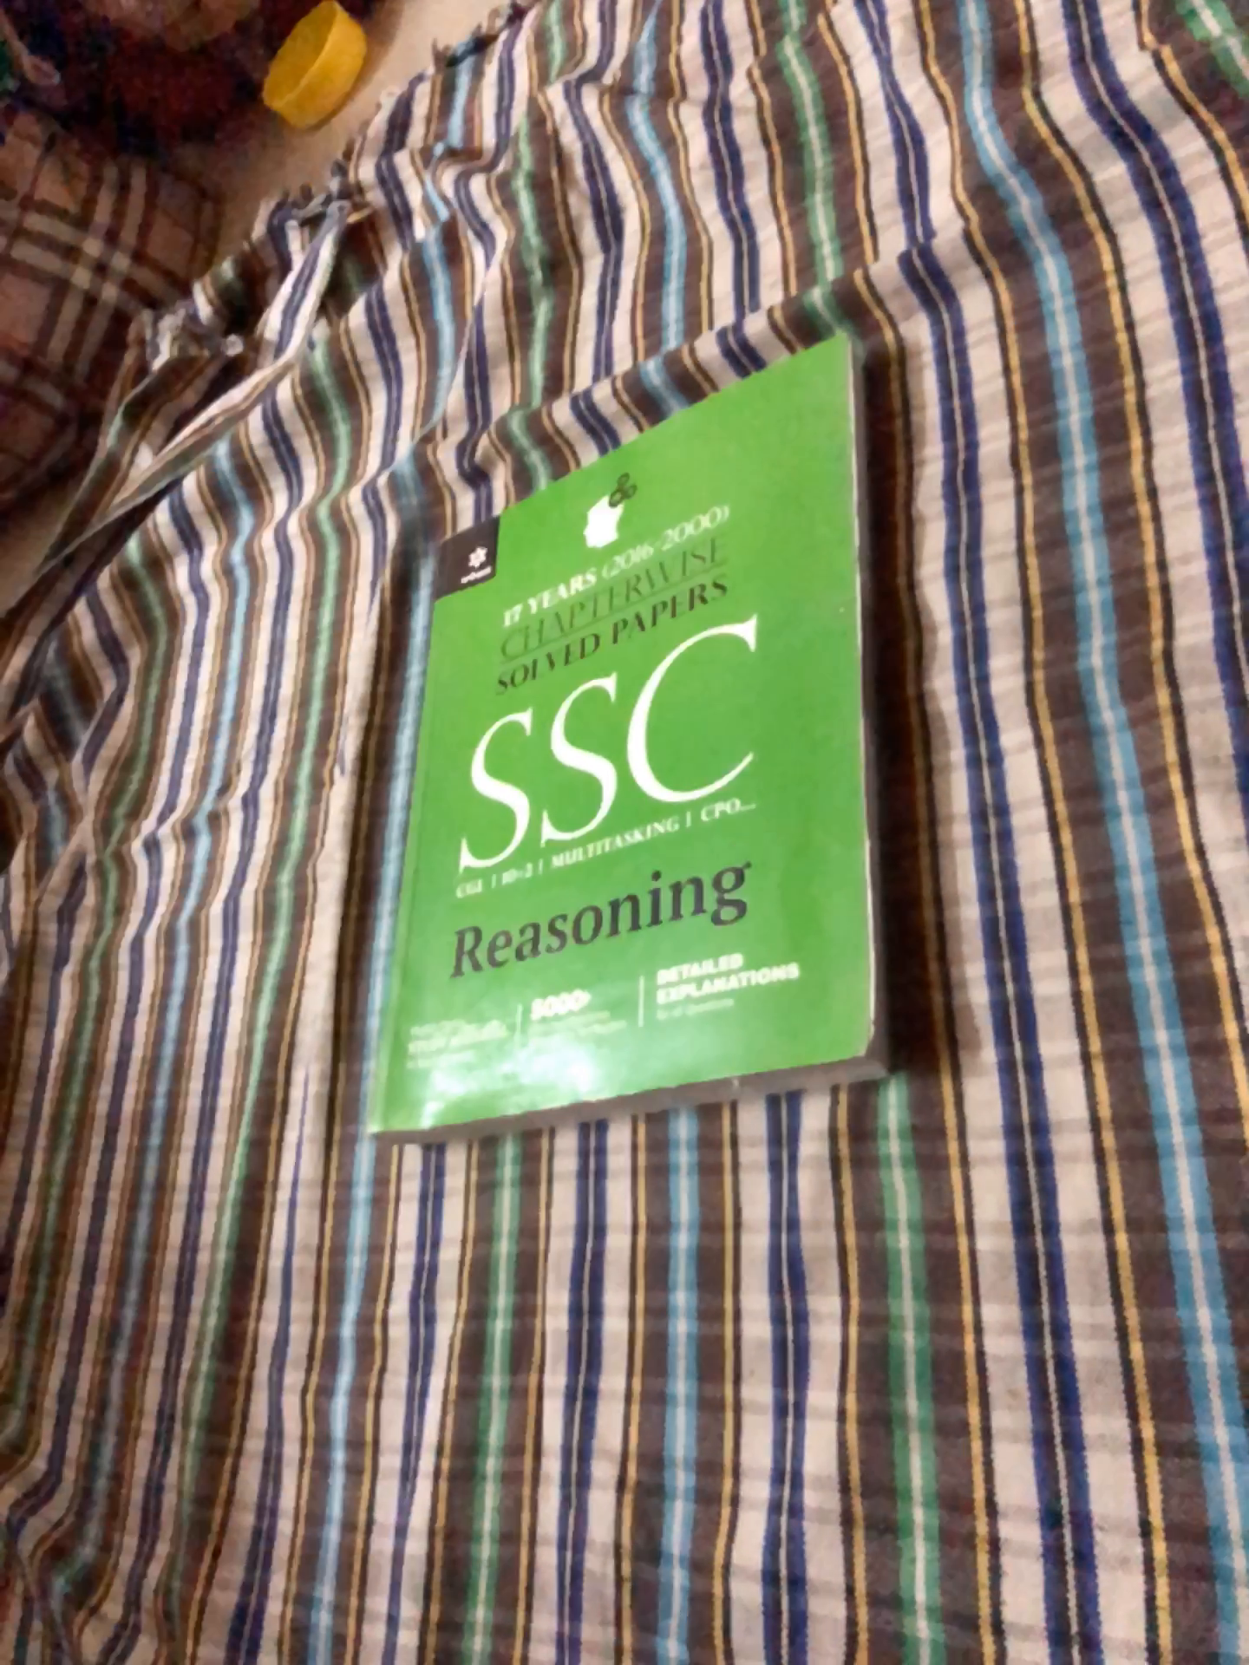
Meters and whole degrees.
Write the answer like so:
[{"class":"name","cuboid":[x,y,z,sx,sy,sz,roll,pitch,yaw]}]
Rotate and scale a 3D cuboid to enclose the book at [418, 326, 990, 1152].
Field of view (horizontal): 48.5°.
[{"class":"book","cuboid":[0.024,-0.029,0.520,0.210,0.040,0.270,-17,59,37]}]
